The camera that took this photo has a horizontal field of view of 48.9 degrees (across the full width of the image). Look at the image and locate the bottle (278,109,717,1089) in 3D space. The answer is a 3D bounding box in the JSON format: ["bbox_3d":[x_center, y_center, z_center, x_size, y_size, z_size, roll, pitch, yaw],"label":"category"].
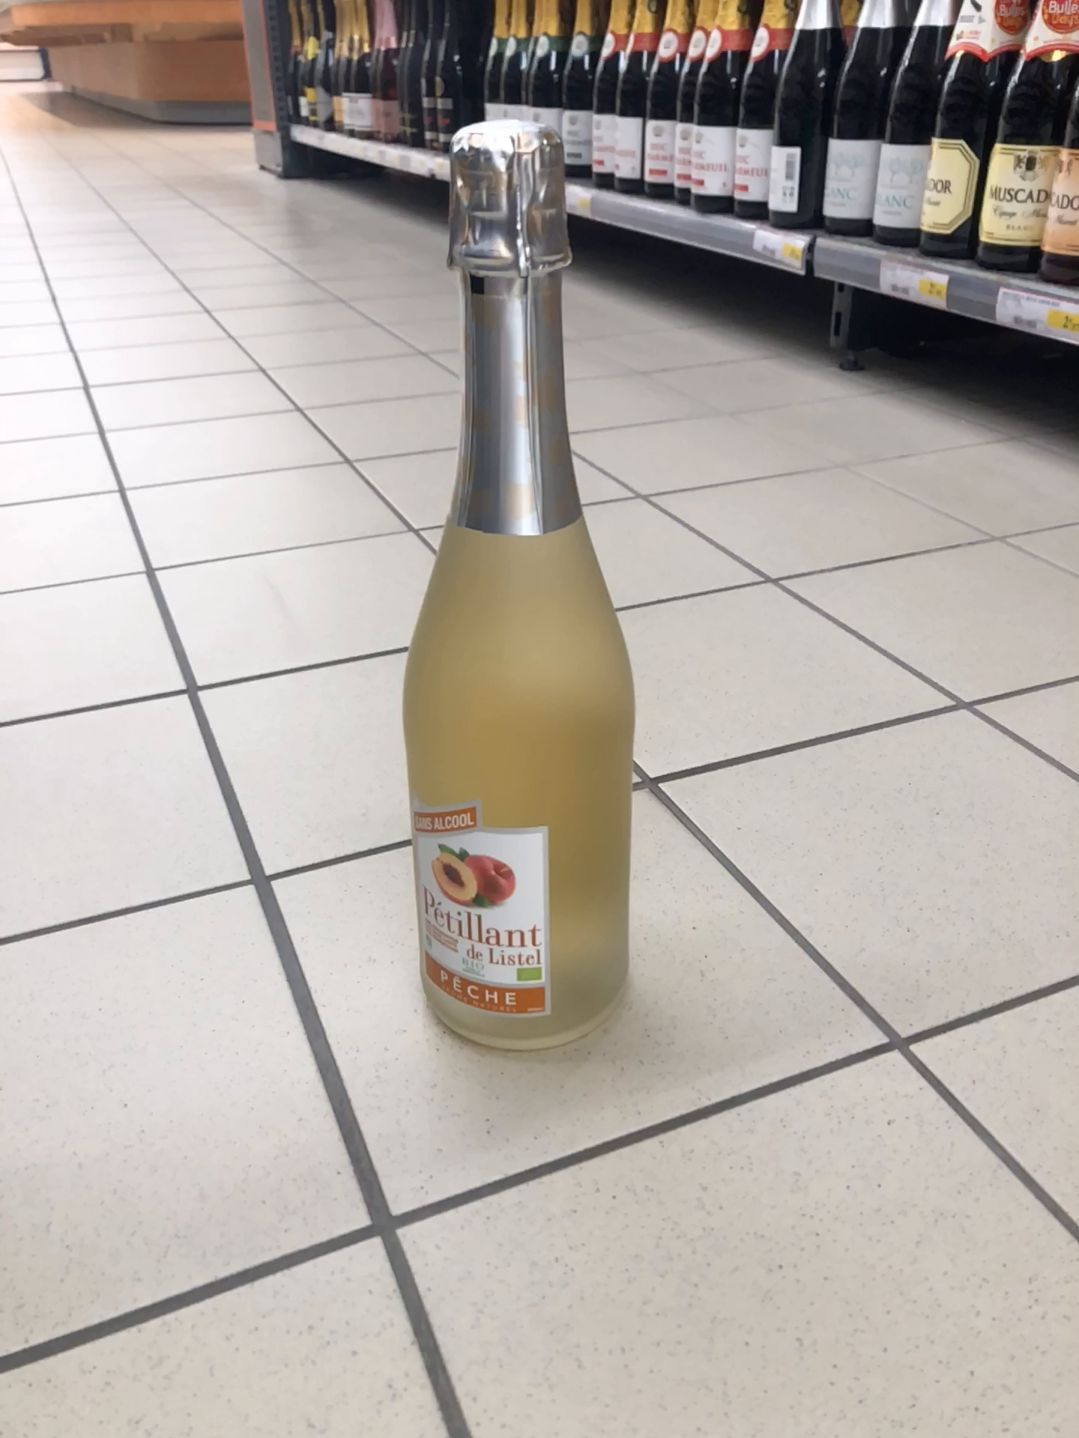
[{"bbox_3d":[-0.007,-0.034,0.404,0.090,0.308,0.091,-1,28,0],"label":"bottle"}]
